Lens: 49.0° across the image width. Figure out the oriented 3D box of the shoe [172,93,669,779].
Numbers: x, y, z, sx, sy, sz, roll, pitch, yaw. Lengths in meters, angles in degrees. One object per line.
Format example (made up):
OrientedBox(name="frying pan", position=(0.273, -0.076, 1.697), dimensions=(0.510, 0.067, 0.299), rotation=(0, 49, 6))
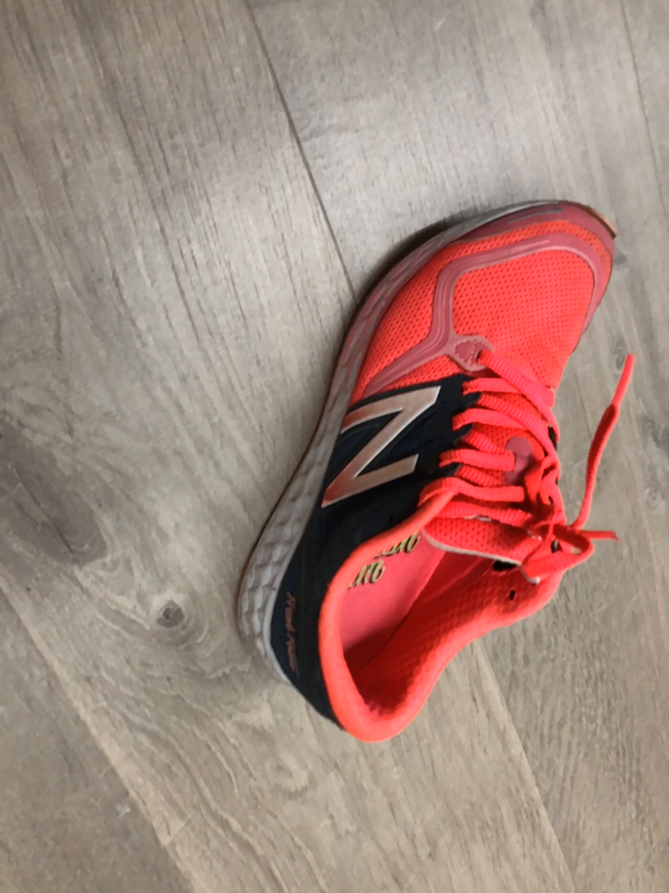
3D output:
OrientedBox(name="shoe", position=(0.048, -0.007, 0.321), dimensions=(0.100, 0.110, 0.240), rotation=(34, 86, -26))
